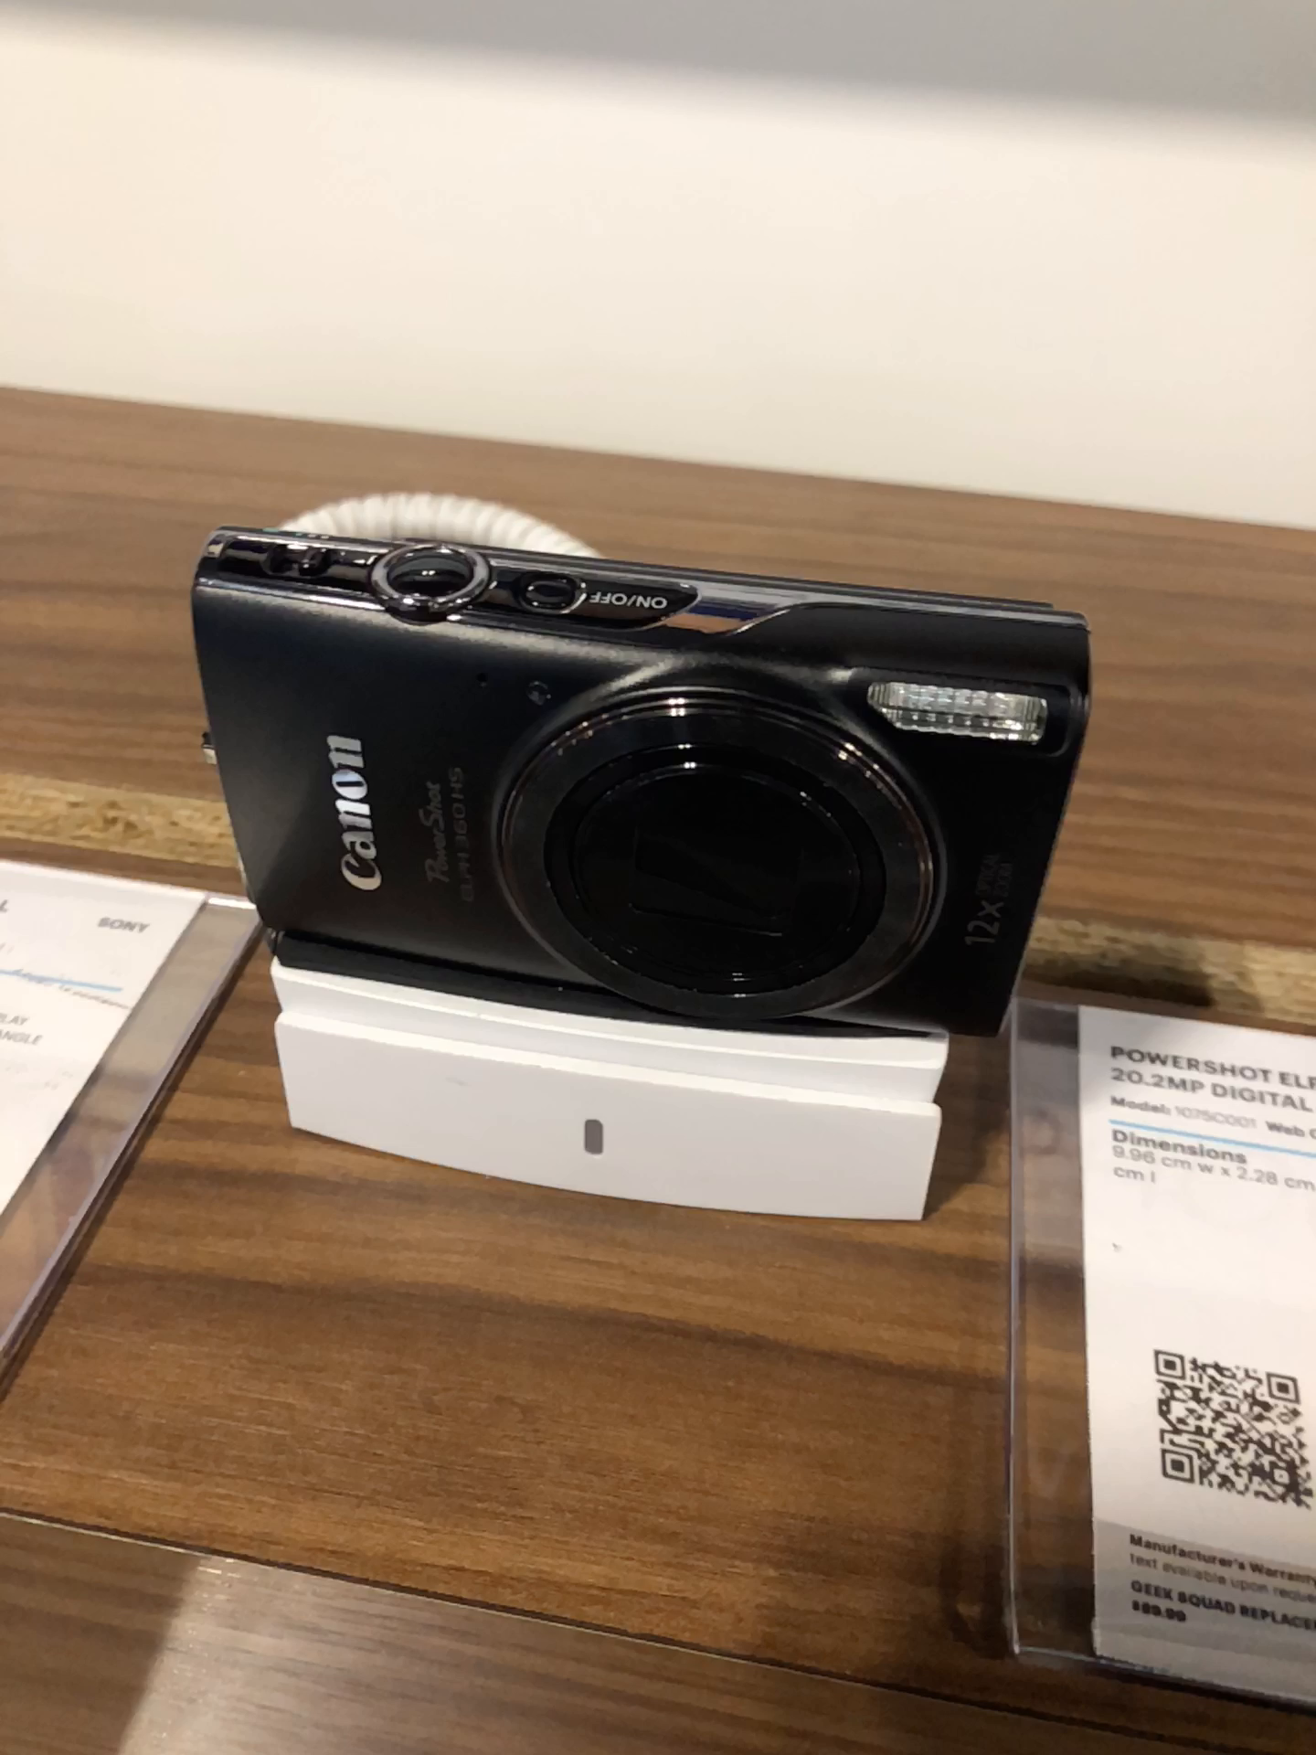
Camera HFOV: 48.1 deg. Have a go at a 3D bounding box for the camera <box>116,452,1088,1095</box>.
[{"bbox_3d":[-0.006,-0.012,0.179,0.100,0.060,0.030,7,39,6],"label":"camera"}]
